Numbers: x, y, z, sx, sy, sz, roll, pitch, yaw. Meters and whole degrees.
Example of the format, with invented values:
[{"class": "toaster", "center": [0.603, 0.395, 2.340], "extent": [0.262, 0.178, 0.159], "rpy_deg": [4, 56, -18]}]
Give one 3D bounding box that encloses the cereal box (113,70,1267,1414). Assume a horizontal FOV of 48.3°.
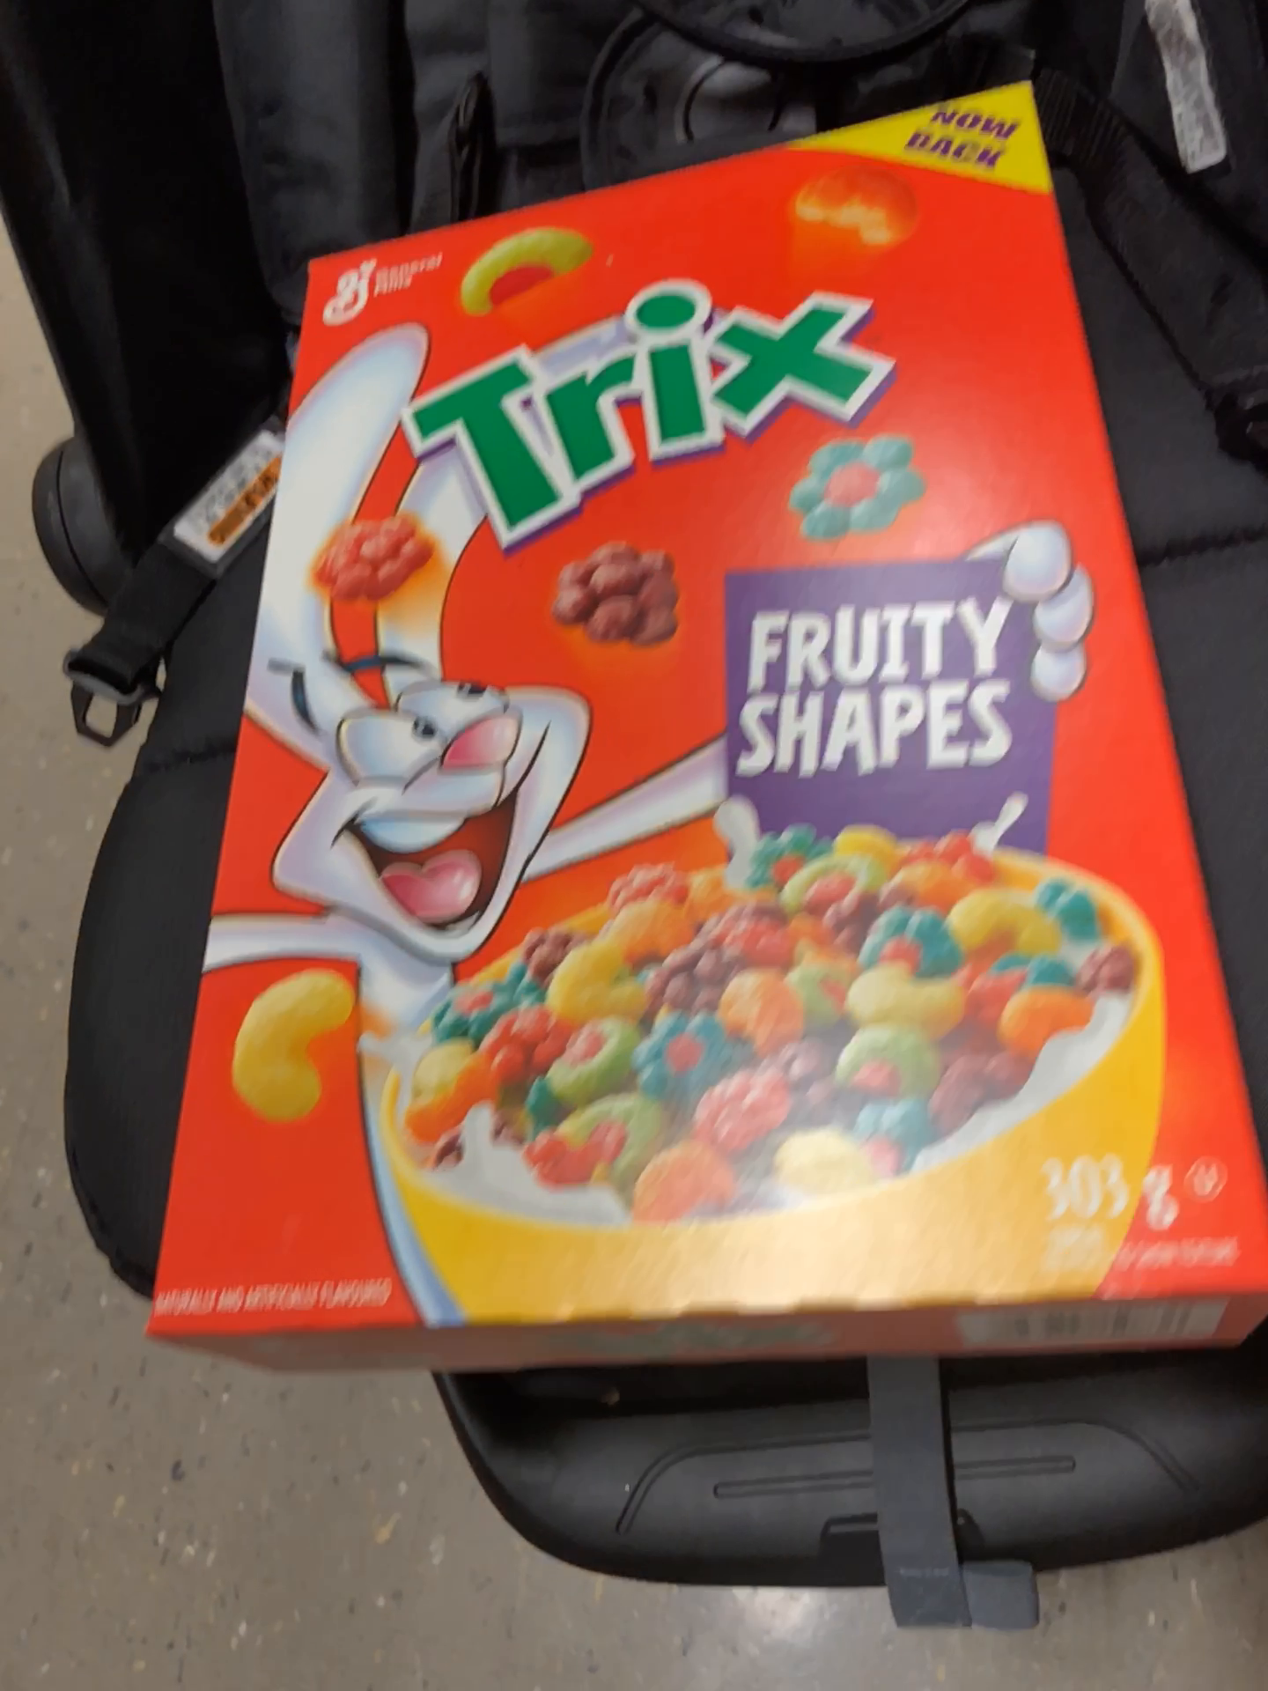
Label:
[{"class": "cereal box", "center": [0.010, -0.030, 0.315], "extent": [0.200, 0.060, 0.280], "rpy_deg": [-8, 62, 13]}]
